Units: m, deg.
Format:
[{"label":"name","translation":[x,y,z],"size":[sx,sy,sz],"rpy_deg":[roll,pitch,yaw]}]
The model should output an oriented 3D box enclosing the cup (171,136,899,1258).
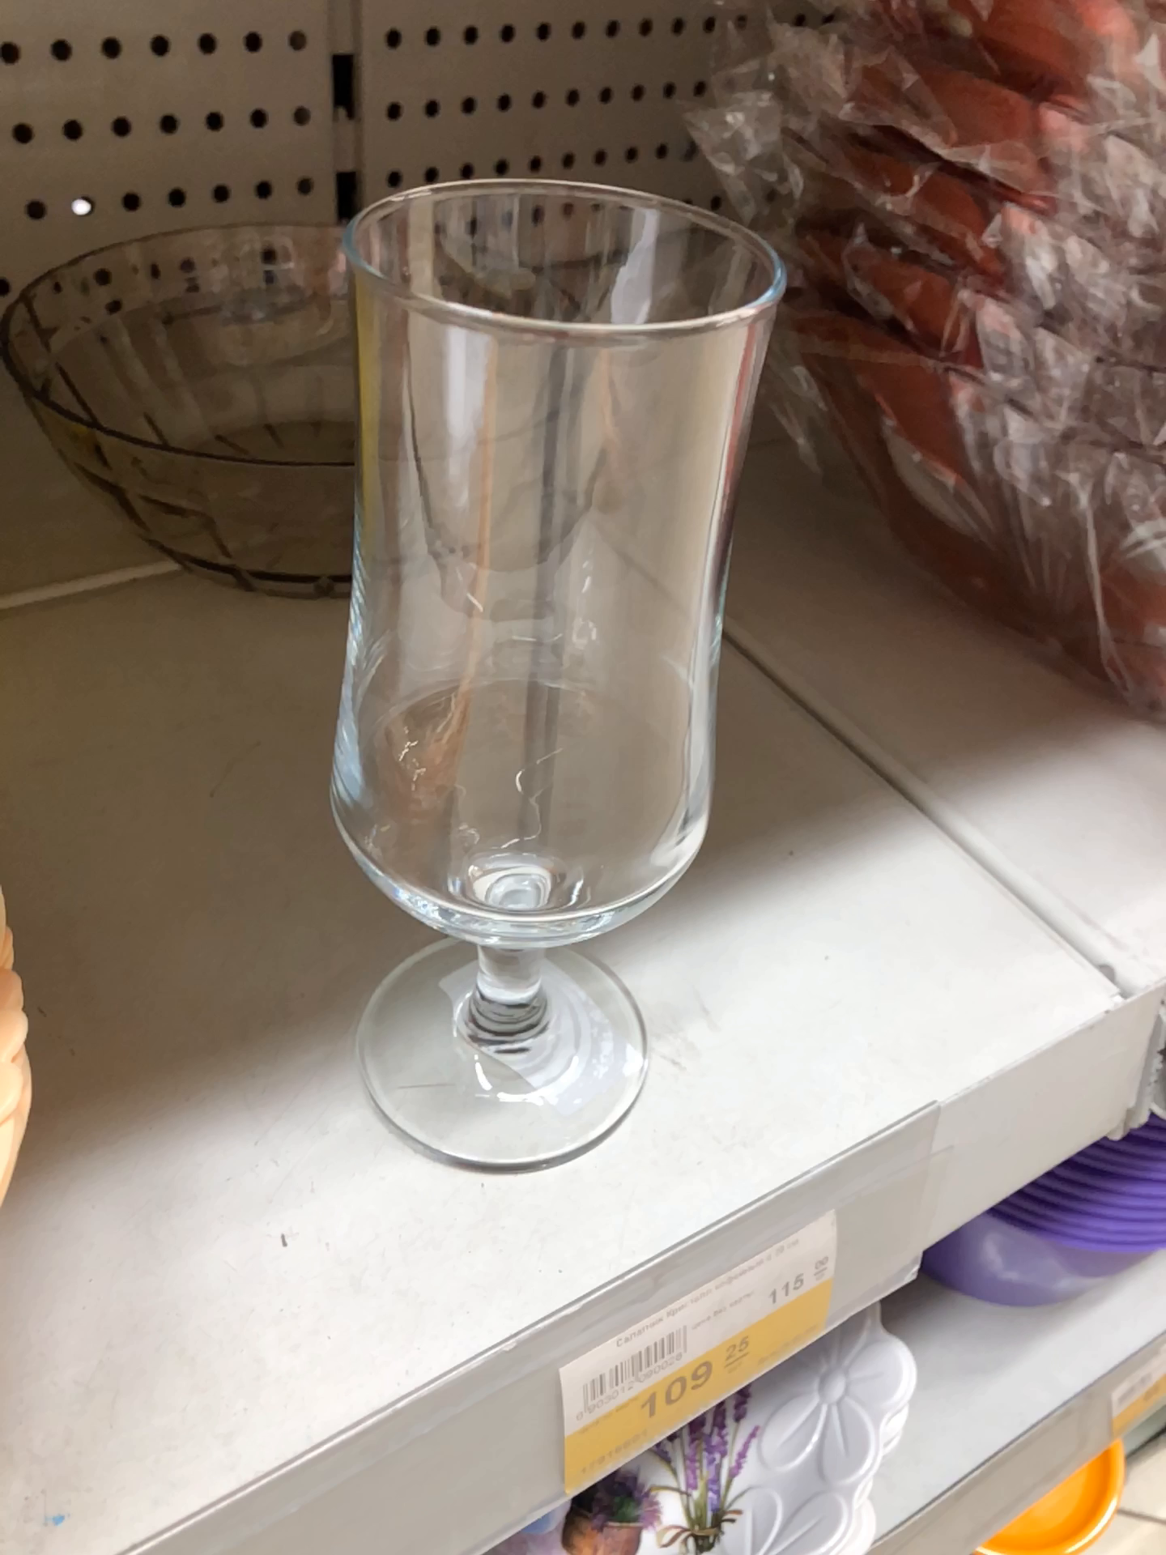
[{"label":"cup","translation":[-0.013,-0.007,0.255],"size":[0.075,0.194,0.078],"rpy_deg":[3,40,-3]}]
